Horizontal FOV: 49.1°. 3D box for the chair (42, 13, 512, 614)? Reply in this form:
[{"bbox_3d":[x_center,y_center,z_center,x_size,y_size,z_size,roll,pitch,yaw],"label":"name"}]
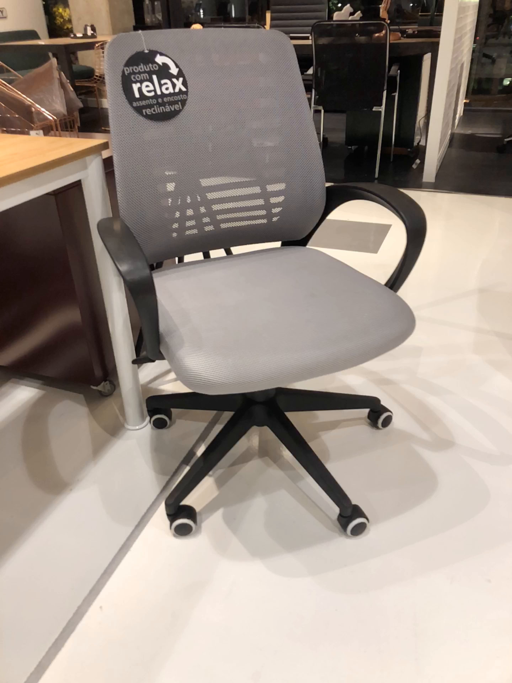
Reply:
[{"bbox_3d":[0.037,-0.135,1.095,0.661,0.853,0.665,-12,32,-17],"label":"chair"}]
